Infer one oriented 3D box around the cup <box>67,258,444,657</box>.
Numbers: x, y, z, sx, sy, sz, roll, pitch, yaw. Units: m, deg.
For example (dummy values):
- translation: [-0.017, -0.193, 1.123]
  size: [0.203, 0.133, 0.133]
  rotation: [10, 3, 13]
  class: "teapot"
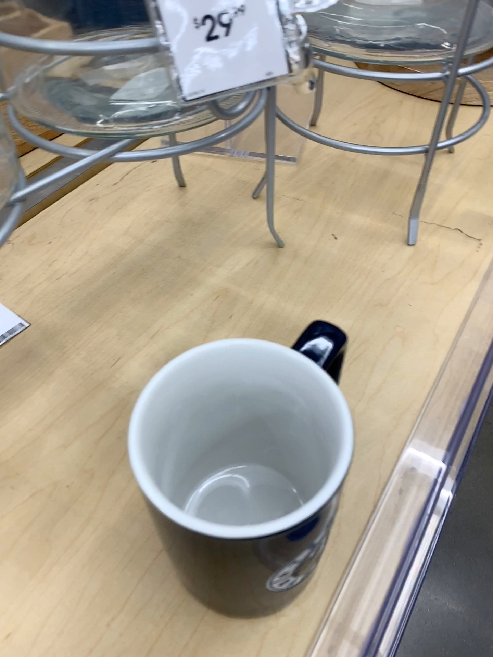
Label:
- translation: [0.011, 0.064, 0.241]
  size: [0.097, 0.121, 0.123]
  rotation: [25, 54, 21]
  class: "cup"
